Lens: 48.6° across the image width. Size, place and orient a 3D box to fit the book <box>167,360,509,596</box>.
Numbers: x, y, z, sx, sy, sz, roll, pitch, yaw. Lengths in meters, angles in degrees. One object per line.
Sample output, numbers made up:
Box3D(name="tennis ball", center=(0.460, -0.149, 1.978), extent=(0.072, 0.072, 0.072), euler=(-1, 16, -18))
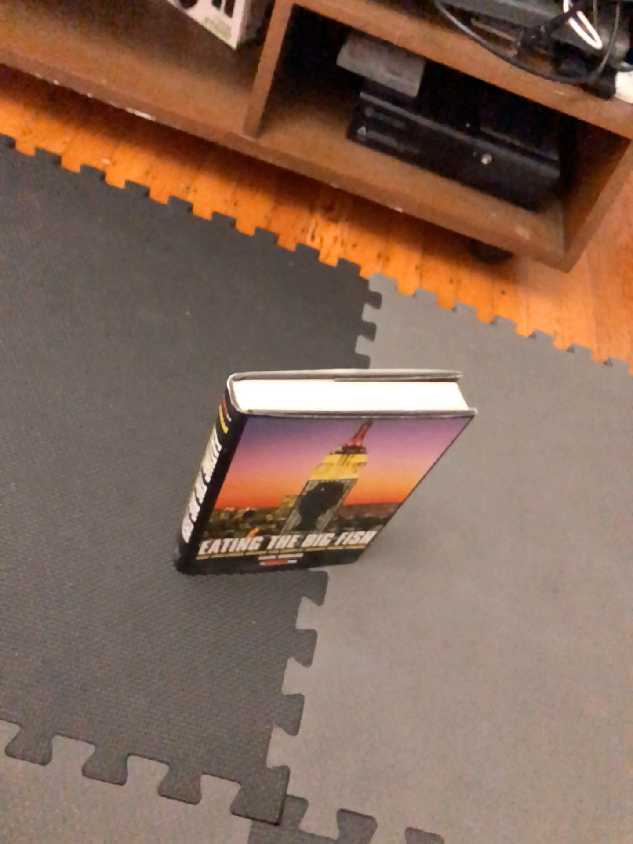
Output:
Box3D(name="book", center=(-0.004, 0.052, 0.528), extent=(0.180, 0.259, 0.050), euler=(-2, 59, -21))
